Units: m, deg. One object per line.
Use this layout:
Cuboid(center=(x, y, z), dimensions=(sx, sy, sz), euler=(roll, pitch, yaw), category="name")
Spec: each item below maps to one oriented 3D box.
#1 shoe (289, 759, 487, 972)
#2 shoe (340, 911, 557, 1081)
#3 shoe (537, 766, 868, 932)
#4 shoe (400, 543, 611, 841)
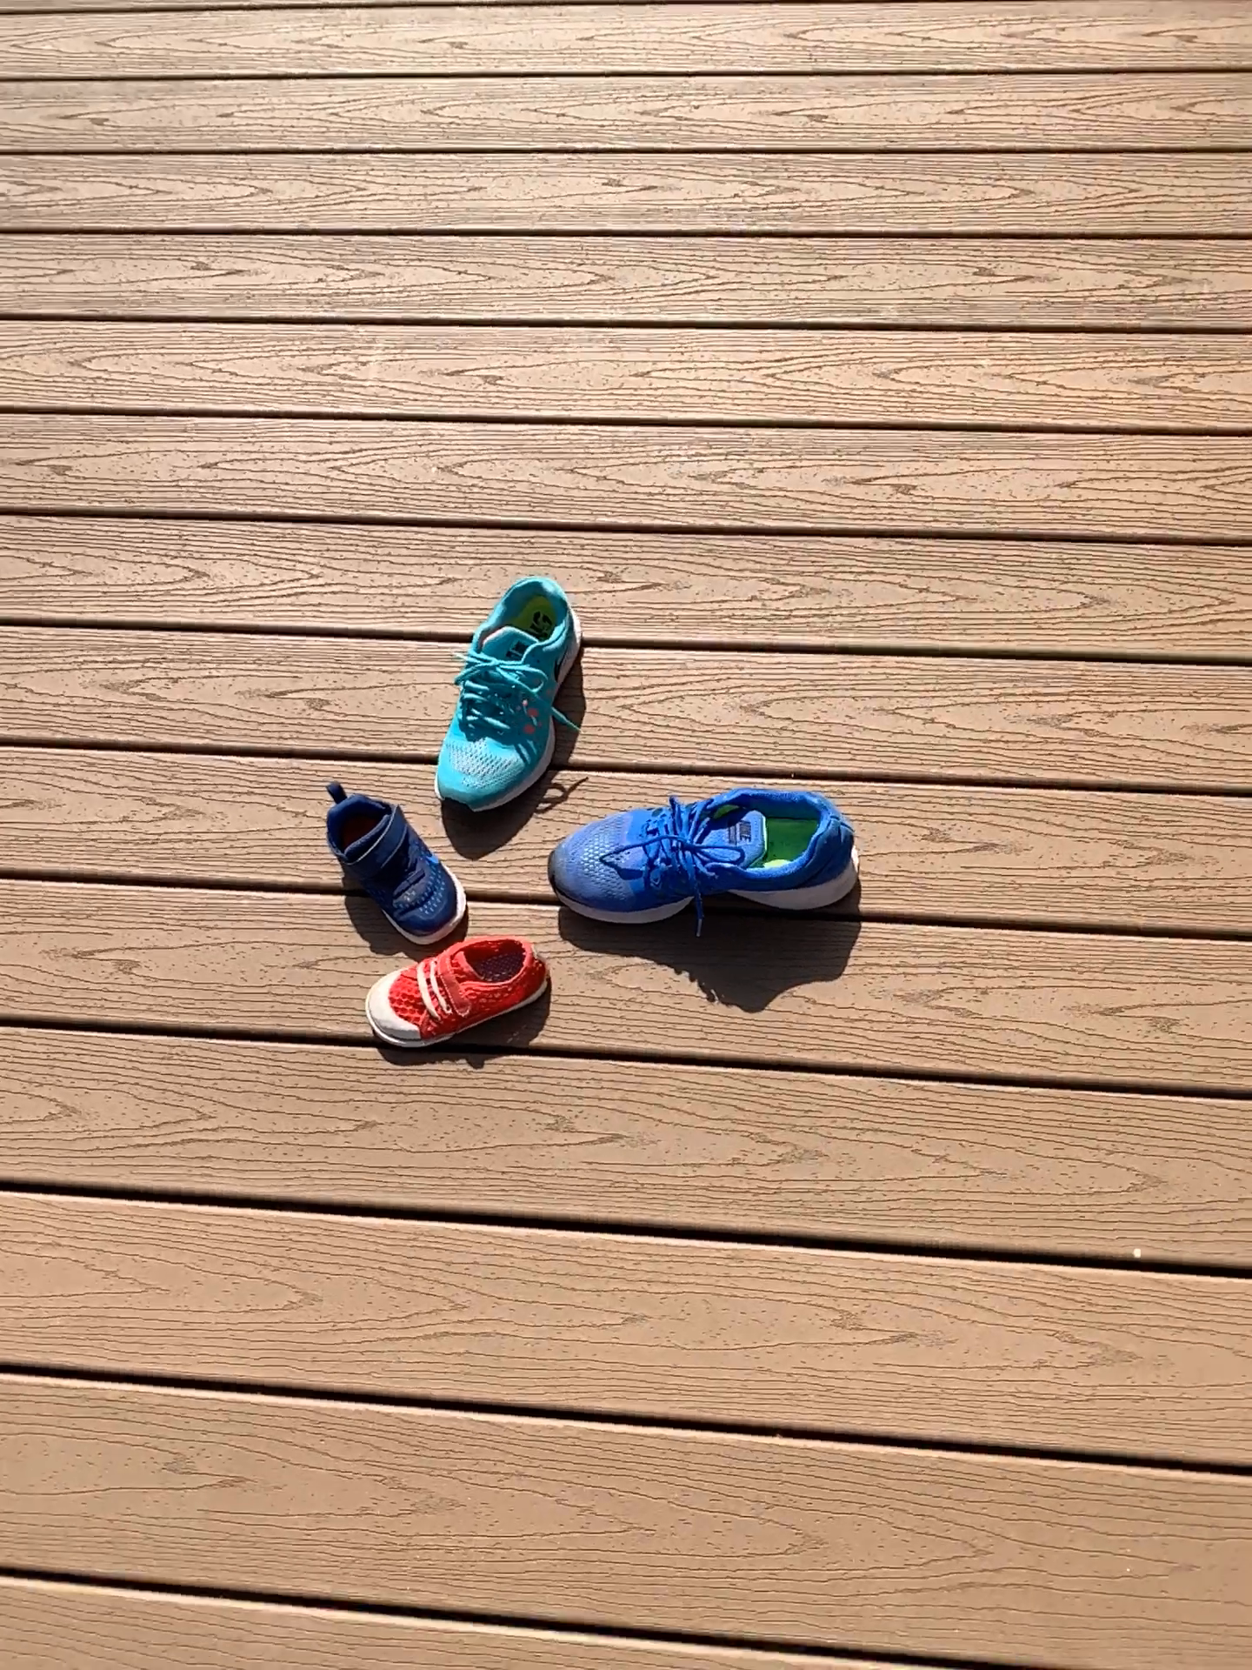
Cuboid(center=(-0.222, 0.027, 1.197), dimensions=(0.090, 0.070, 0.170), euler=(-38, 69, -14), category="shoe")
Cuboid(center=(-0.158, 0.146, 1.153), dimensions=(0.170, 0.060, 0.080), euler=(-21, 66, -7), category="shoe")
Cuboid(center=(0.068, 0.014, 1.188), dimensions=(0.290, 0.090, 0.120), euler=(-2, 65, 2), category="shoe")
Cuboid(center=(-0.113, -0.145, 1.272), dimensions=(0.120, 0.090, 0.270), euler=(14, 66, 9), category="shoe")
